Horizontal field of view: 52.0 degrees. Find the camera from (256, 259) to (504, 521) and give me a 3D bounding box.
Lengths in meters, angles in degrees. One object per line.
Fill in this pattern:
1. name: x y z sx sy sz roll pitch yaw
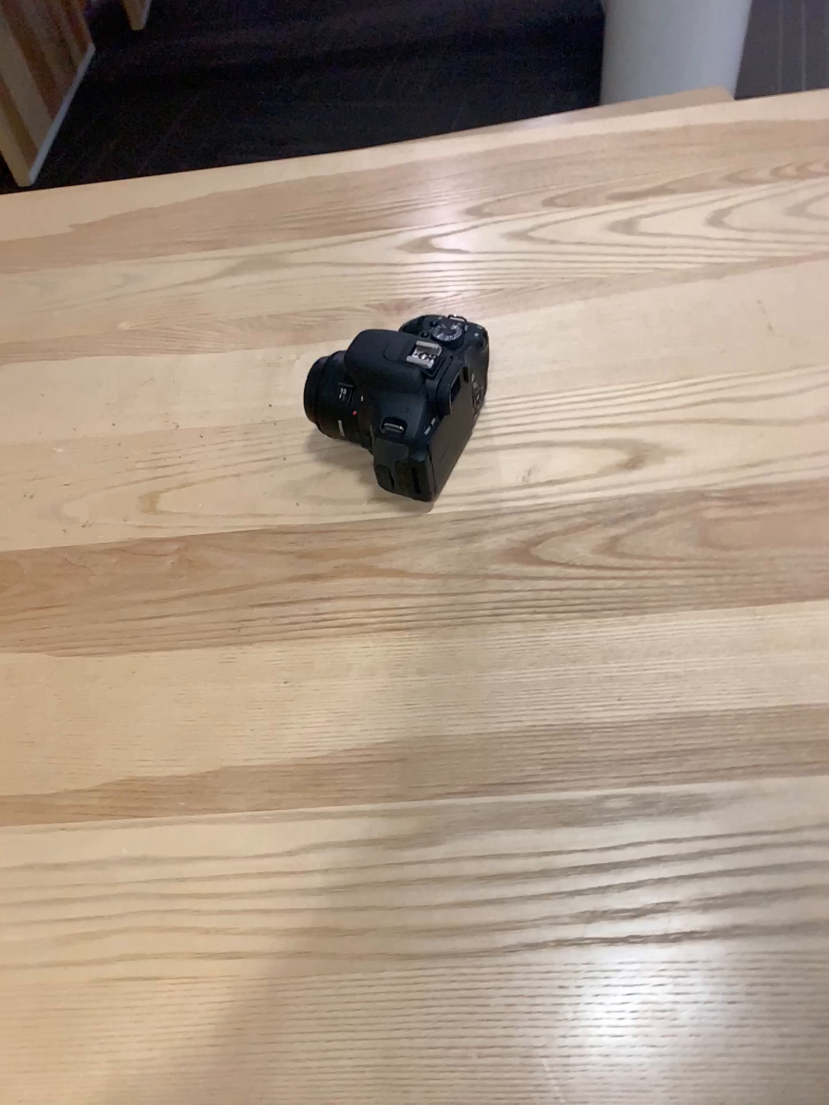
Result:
1. camera: -0.016 -0.121 0.618 0.120 0.100 0.145 15 54 18
